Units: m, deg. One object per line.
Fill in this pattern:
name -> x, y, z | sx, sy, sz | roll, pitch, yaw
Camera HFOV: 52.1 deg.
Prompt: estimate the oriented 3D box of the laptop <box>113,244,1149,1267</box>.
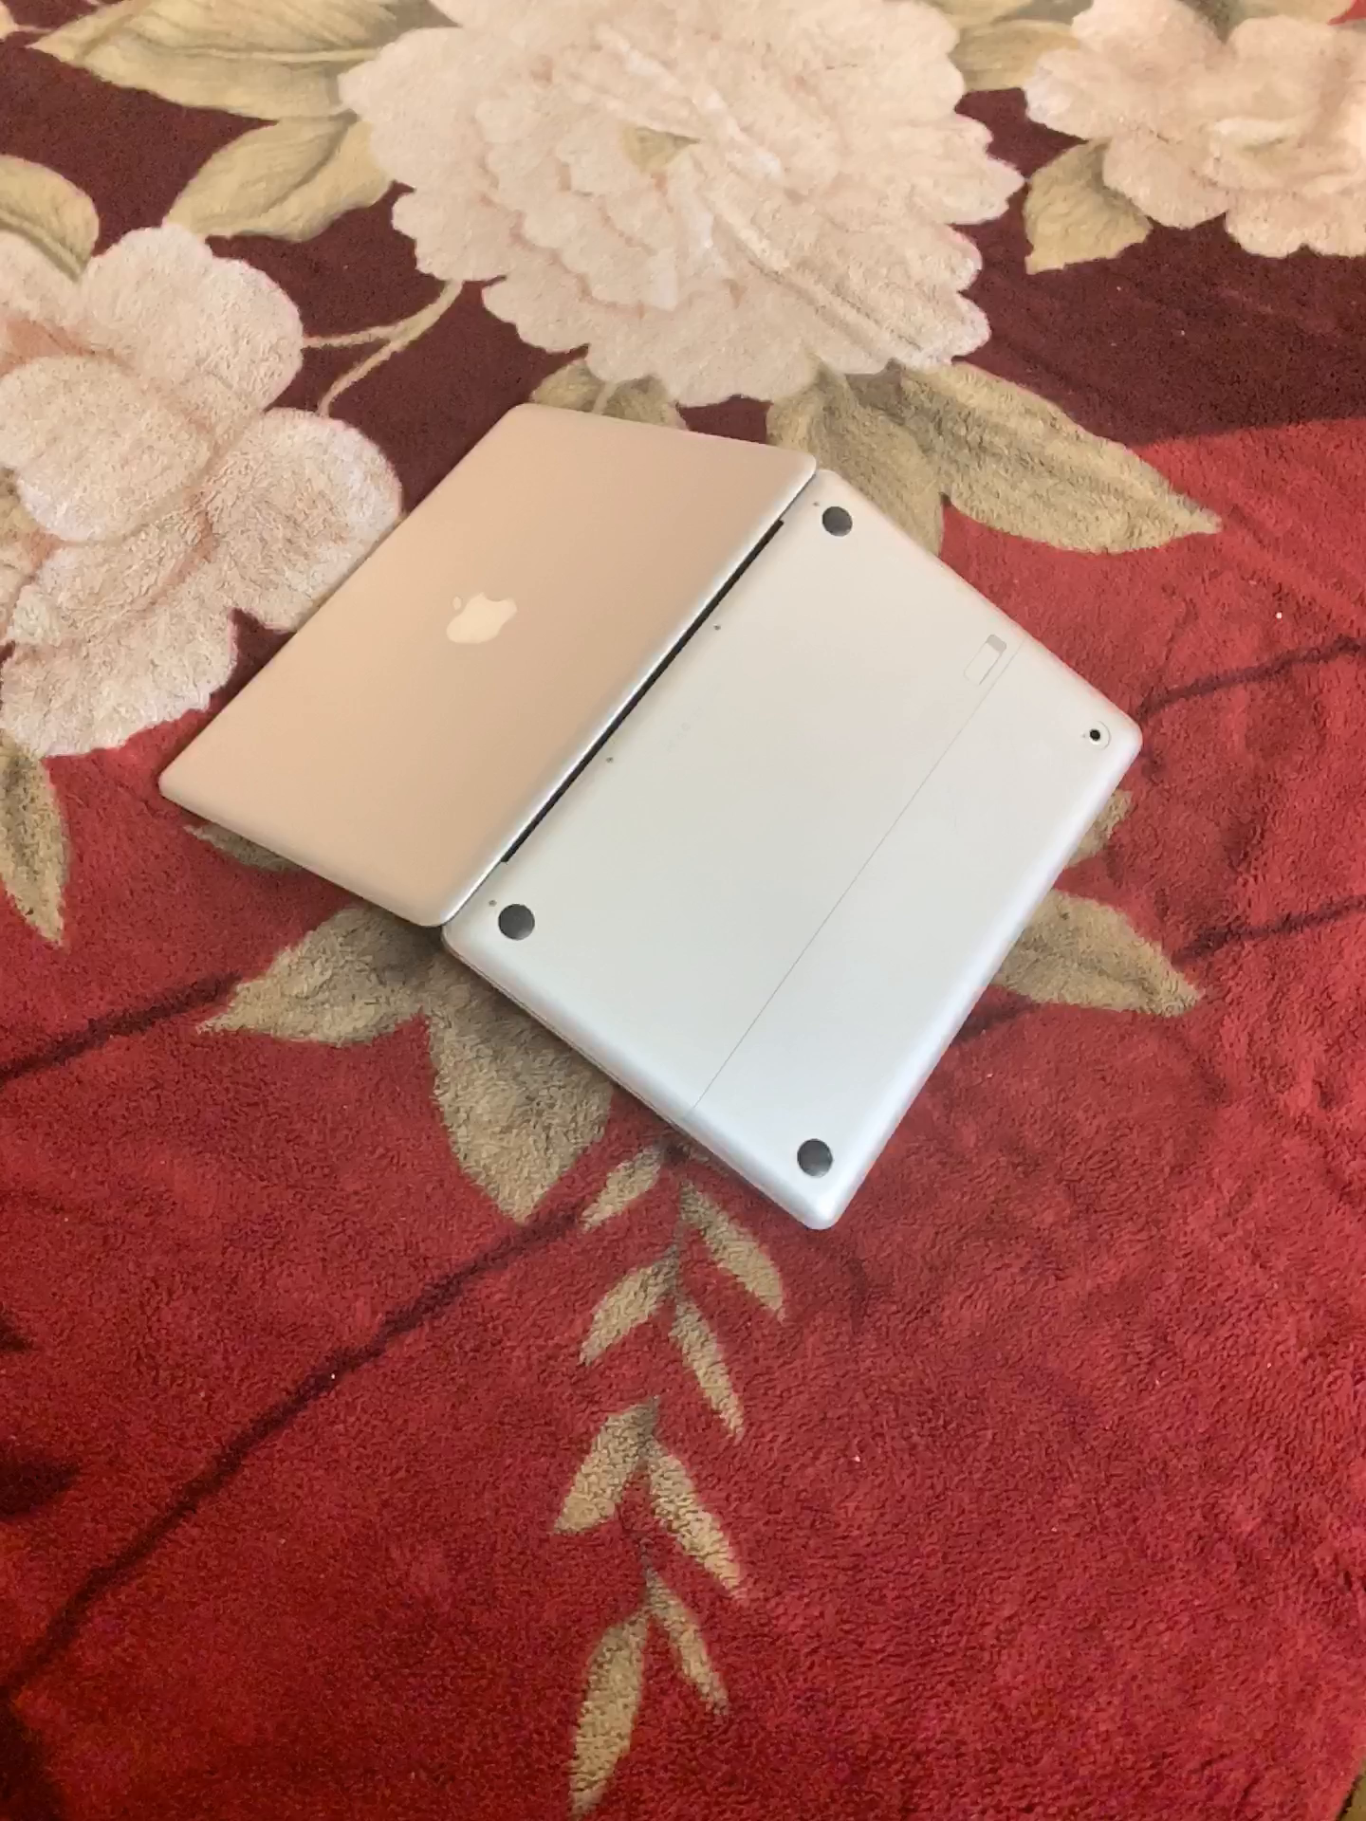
laptop -> 0.000, -0.080, 0.695 | 0.390, 0.078, 0.316 | 38, 70, -3
